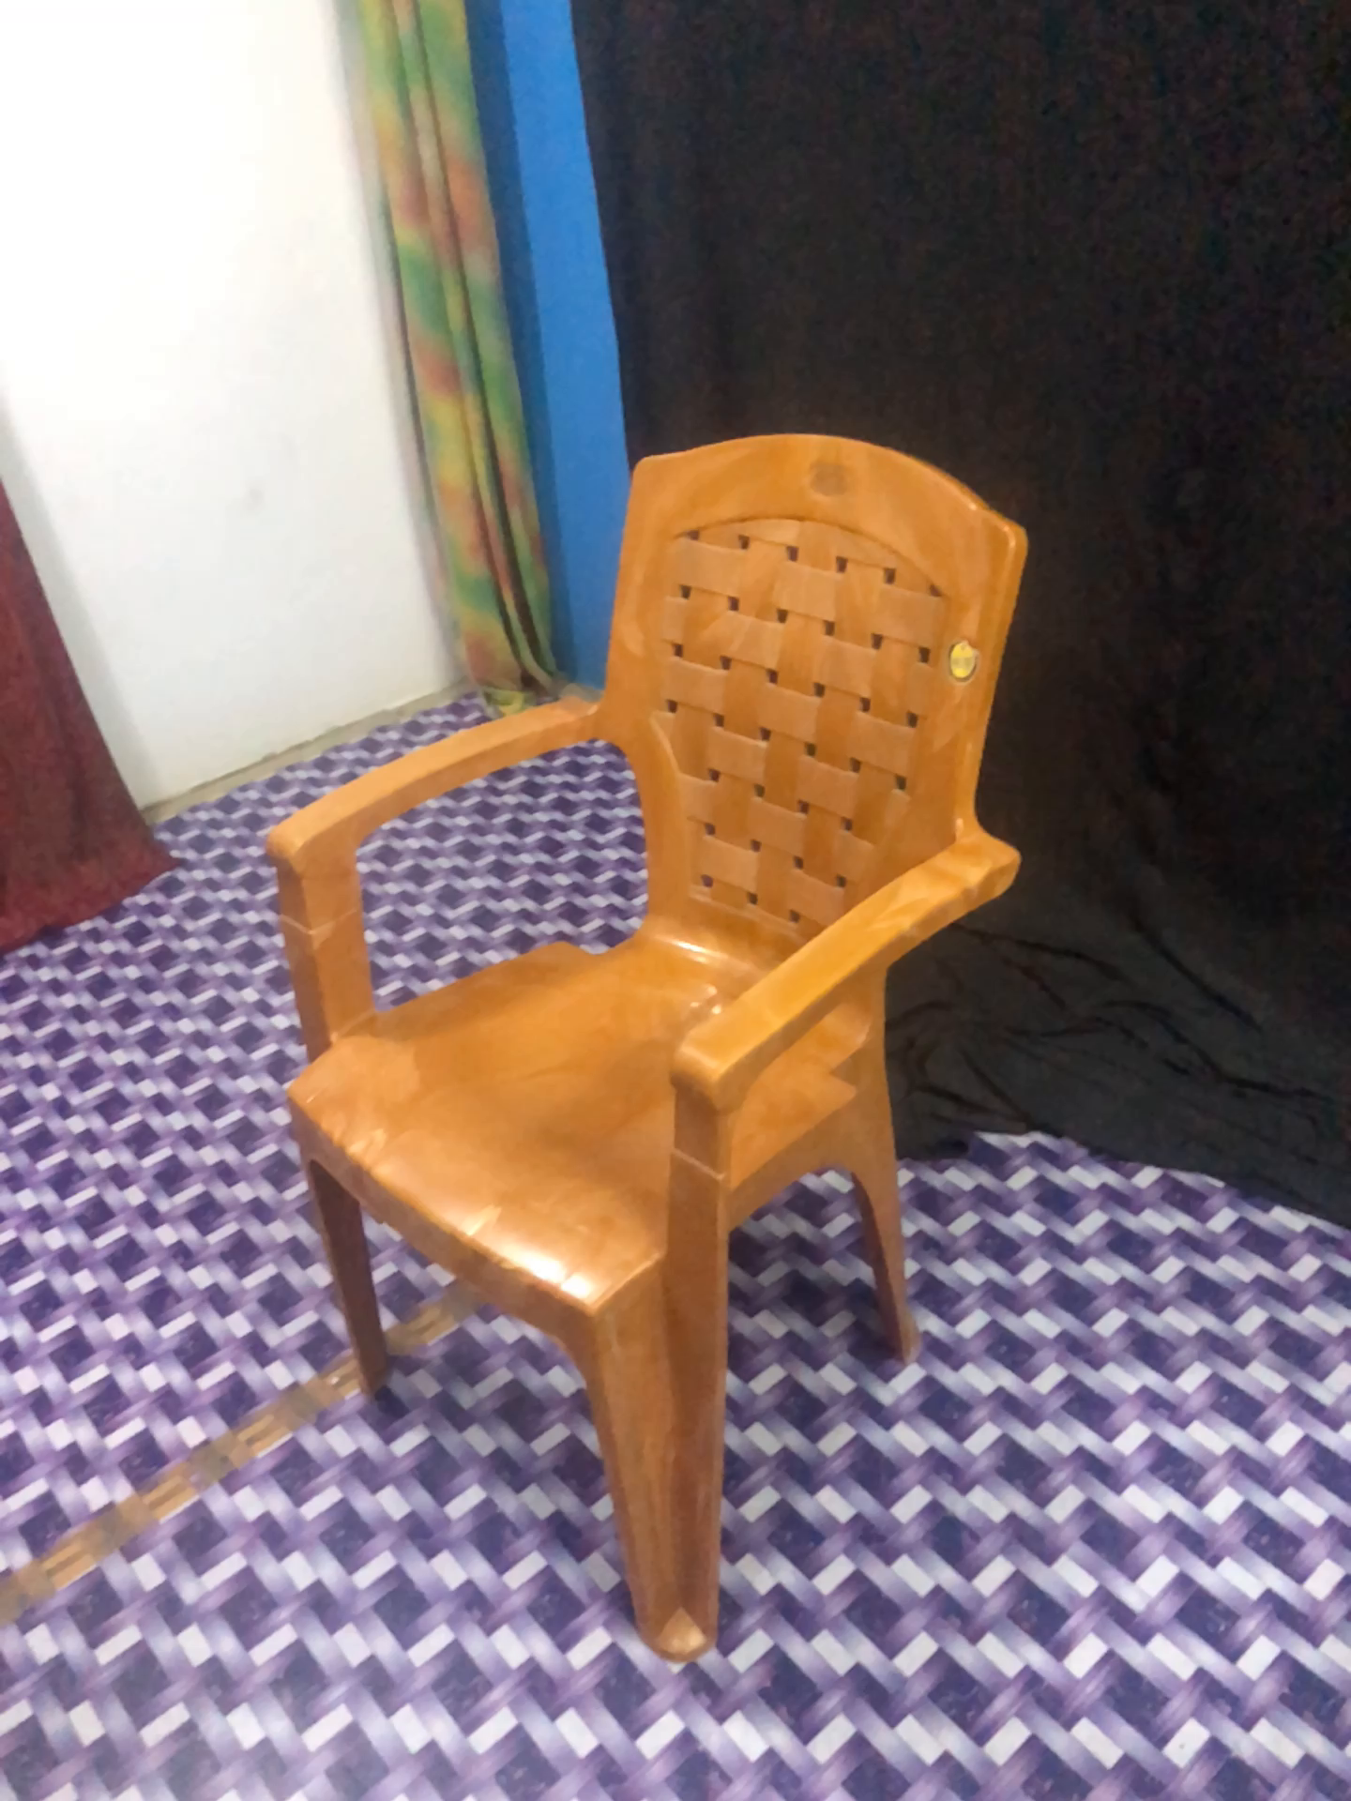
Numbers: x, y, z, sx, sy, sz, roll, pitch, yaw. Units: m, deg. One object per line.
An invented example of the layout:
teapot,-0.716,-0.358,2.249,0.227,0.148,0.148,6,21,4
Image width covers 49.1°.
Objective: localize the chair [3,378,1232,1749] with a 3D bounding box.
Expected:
chair,-0.015,0.063,1.278,0.663,0.786,0.601,-30,40,-33
